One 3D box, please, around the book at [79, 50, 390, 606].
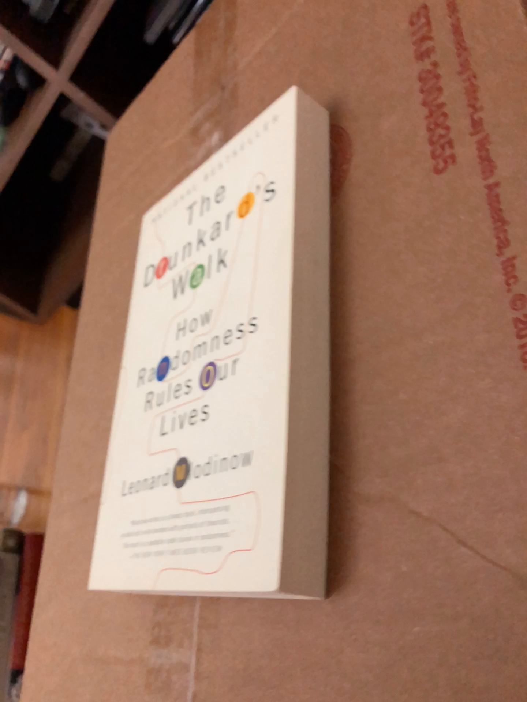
[{"bbox_3d":[-0.016,-0.003,0.264,0.141,0.040,0.210,-24,54,46],"label":"book"}]
